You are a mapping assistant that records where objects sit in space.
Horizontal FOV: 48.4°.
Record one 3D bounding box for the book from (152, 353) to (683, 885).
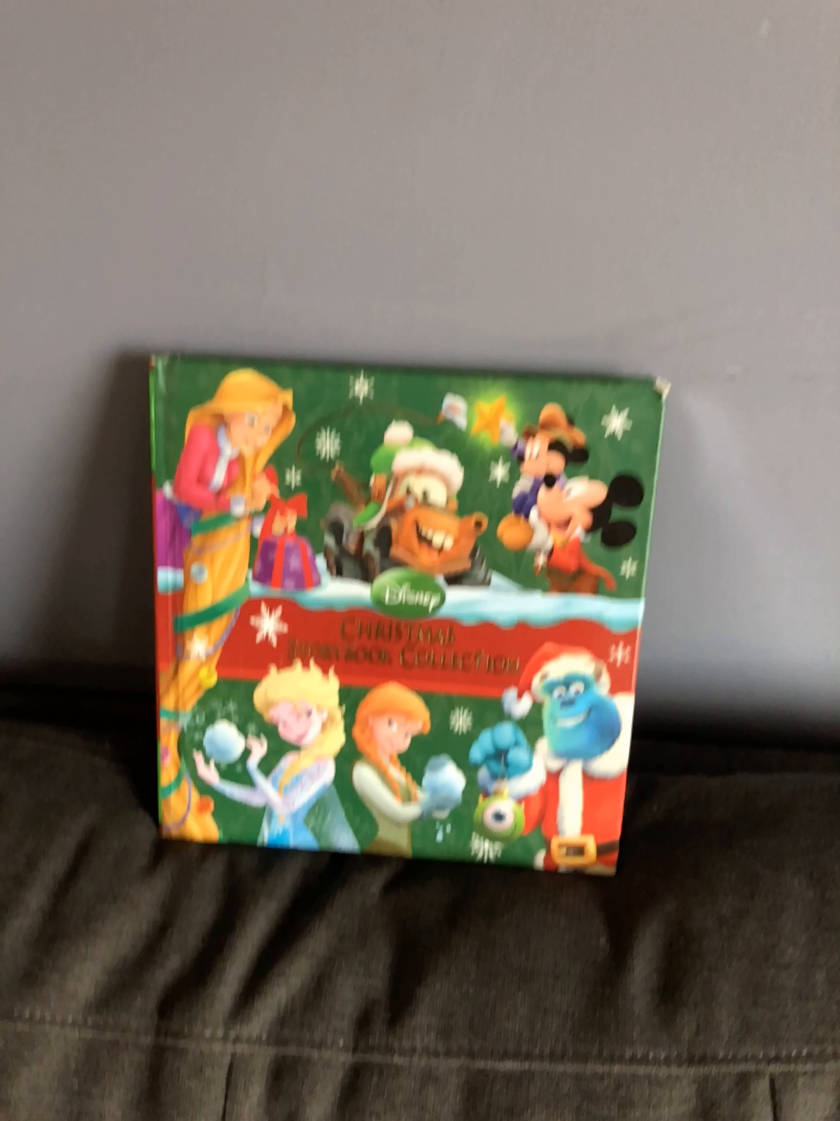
[{"bbox_3d":[-0.007,0.030,0.445,0.227,0.238,0.033,4,16,5],"label":"book"}]
